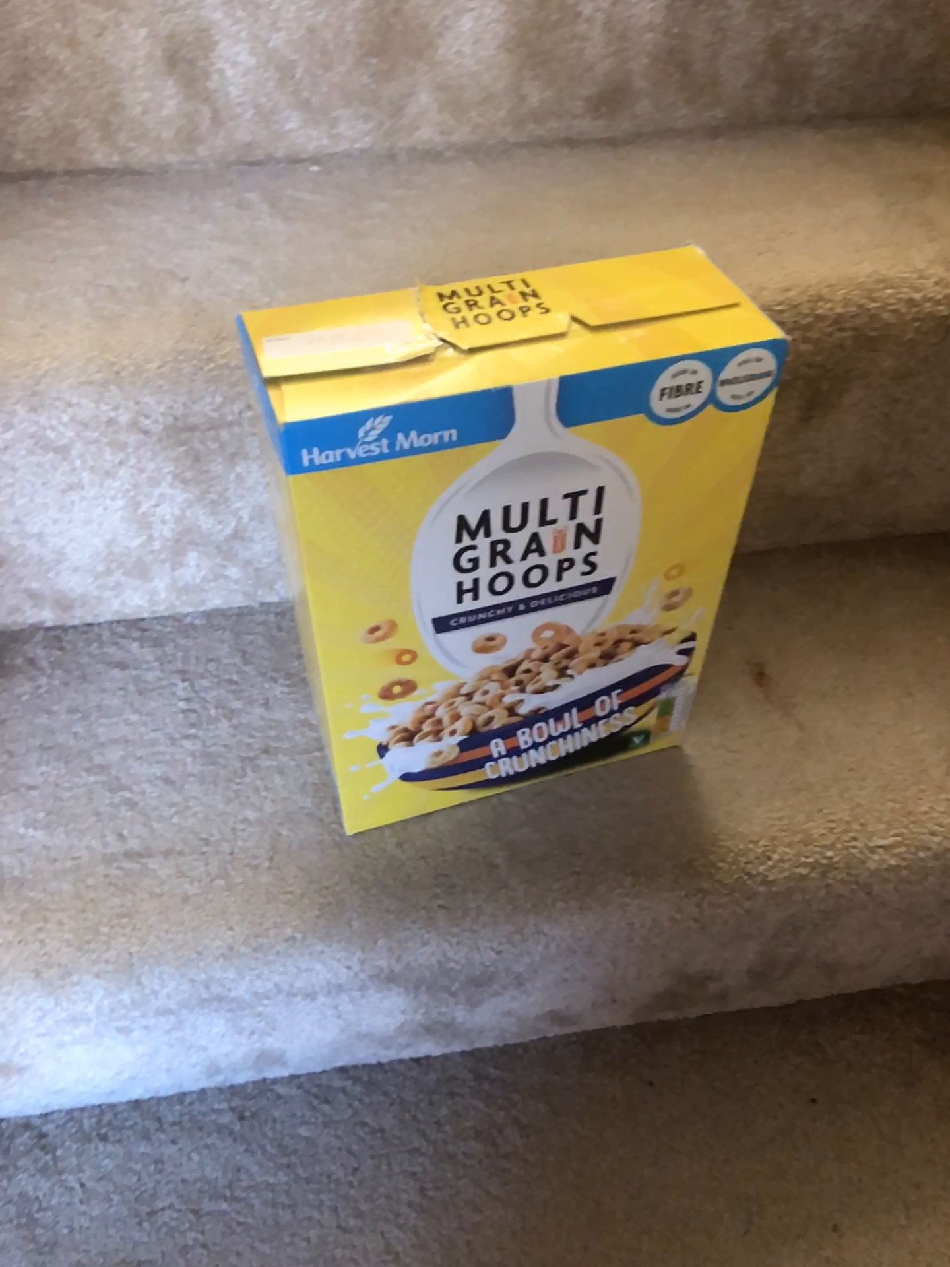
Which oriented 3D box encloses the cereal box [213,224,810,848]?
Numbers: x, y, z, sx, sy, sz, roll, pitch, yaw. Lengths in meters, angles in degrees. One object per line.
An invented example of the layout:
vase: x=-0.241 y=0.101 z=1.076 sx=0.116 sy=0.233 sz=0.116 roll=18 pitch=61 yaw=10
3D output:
cereal box: x=0.011 y=-0.031 z=0.478 sx=0.200 sy=0.248 sz=0.091 roll=-13 pitch=50 yaw=-12
